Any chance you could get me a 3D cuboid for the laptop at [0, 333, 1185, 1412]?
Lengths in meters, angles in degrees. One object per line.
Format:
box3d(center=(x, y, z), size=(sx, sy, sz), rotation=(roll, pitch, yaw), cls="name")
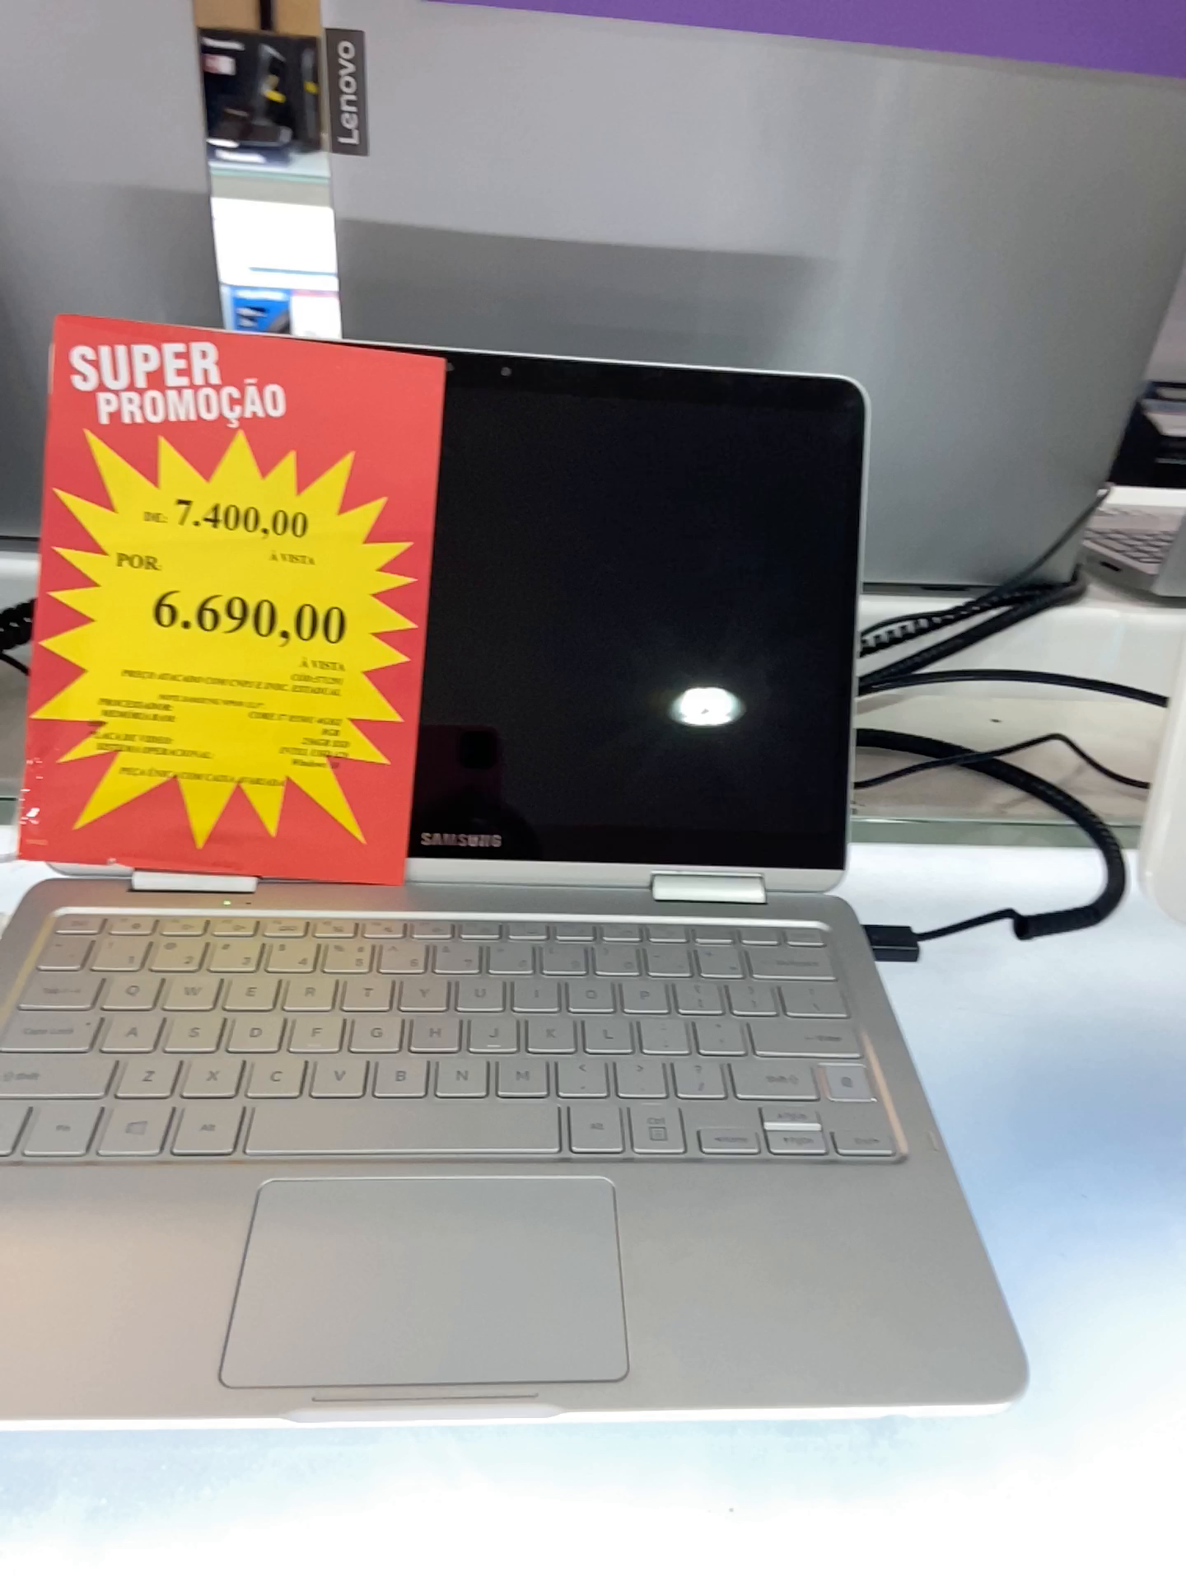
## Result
box3d(center=(-0.042, -0.009, 0.381), size=(0.305, 0.170, 0.312), rotation=(2, 33, -5), cls="laptop")
